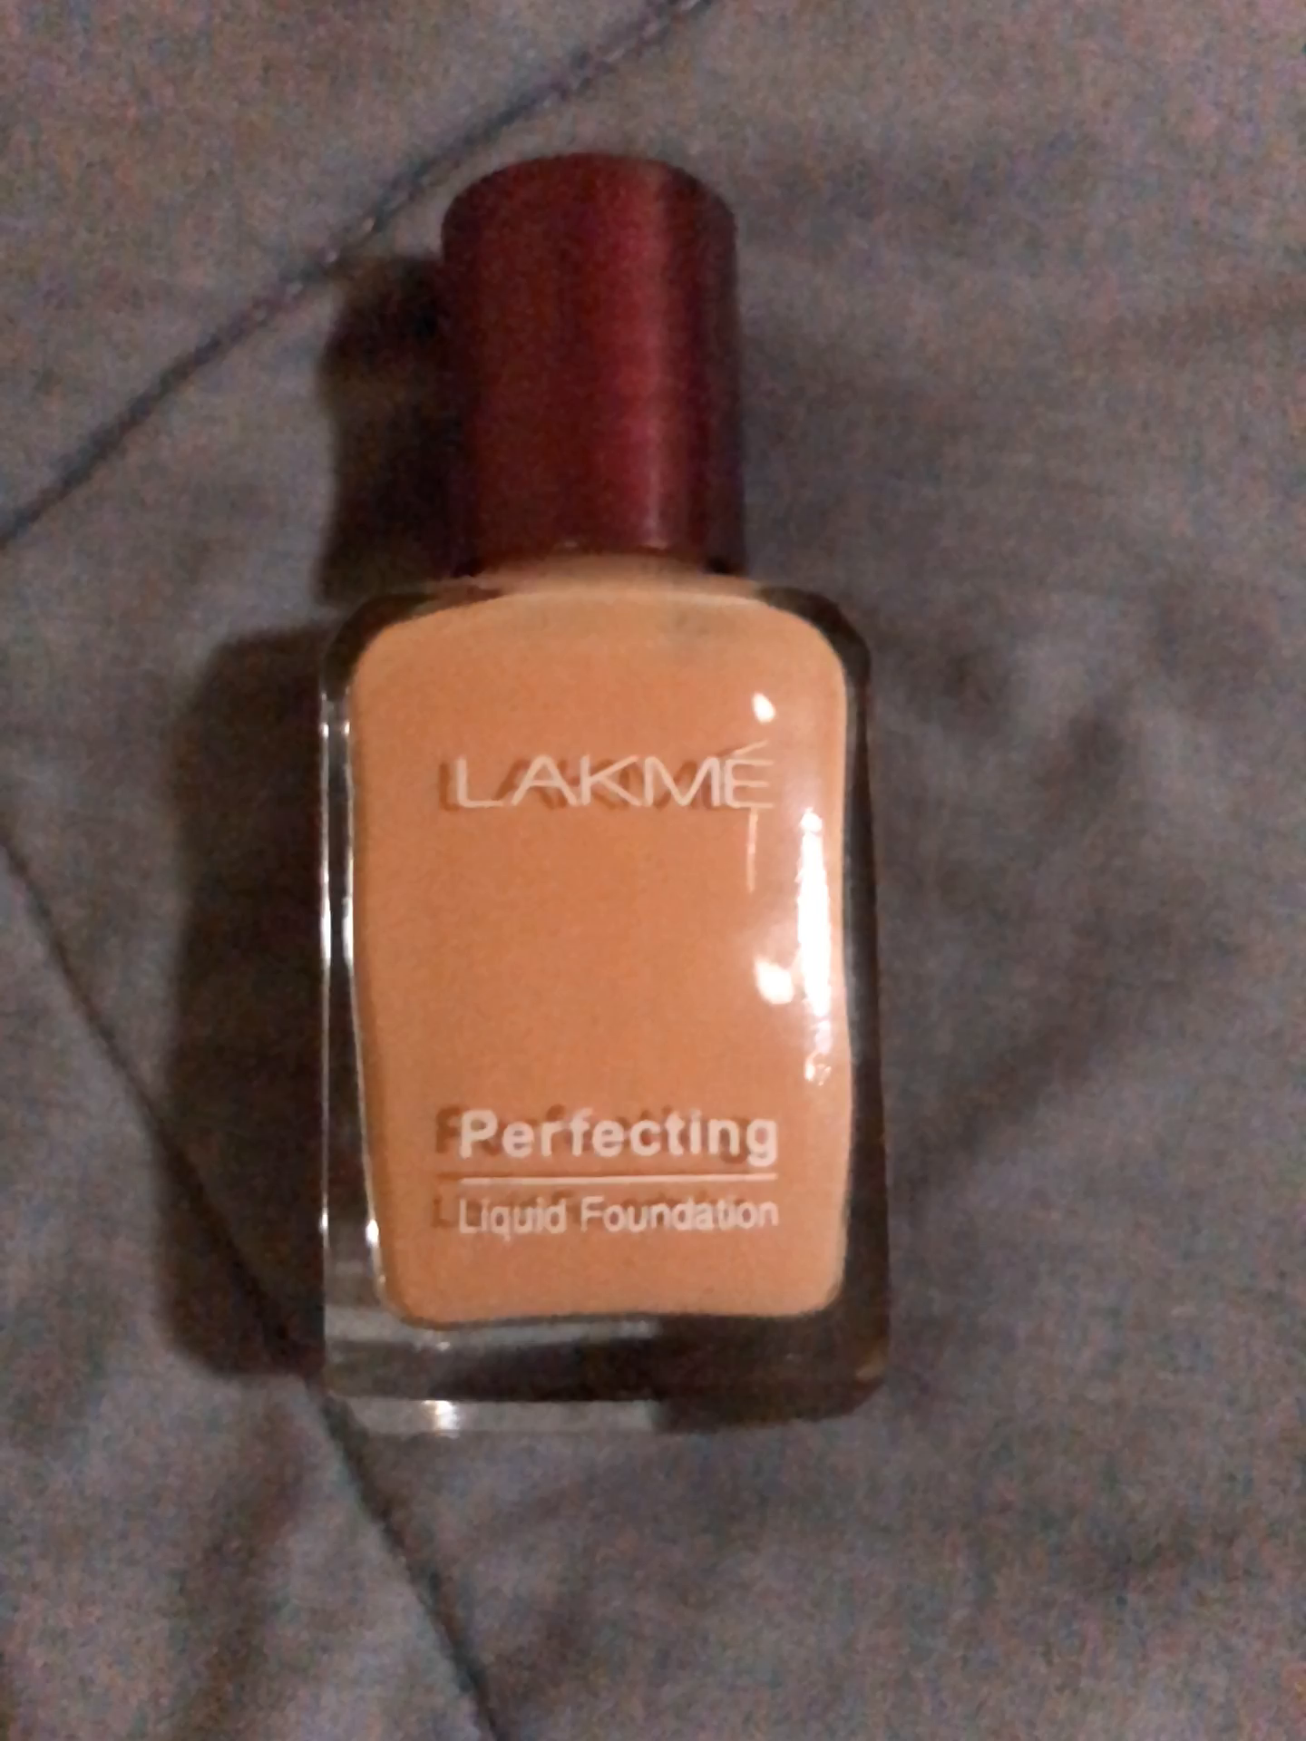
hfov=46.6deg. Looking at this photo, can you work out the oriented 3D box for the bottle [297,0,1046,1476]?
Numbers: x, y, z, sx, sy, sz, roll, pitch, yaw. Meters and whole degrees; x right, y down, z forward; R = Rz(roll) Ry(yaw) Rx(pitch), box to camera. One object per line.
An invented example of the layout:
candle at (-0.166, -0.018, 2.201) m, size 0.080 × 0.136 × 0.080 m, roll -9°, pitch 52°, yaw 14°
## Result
bottle at (0.000, -0.014, 0.120) m, size 0.050 × 0.030 × 0.110 m, roll 0°, pitch 85°, yaw -5°
